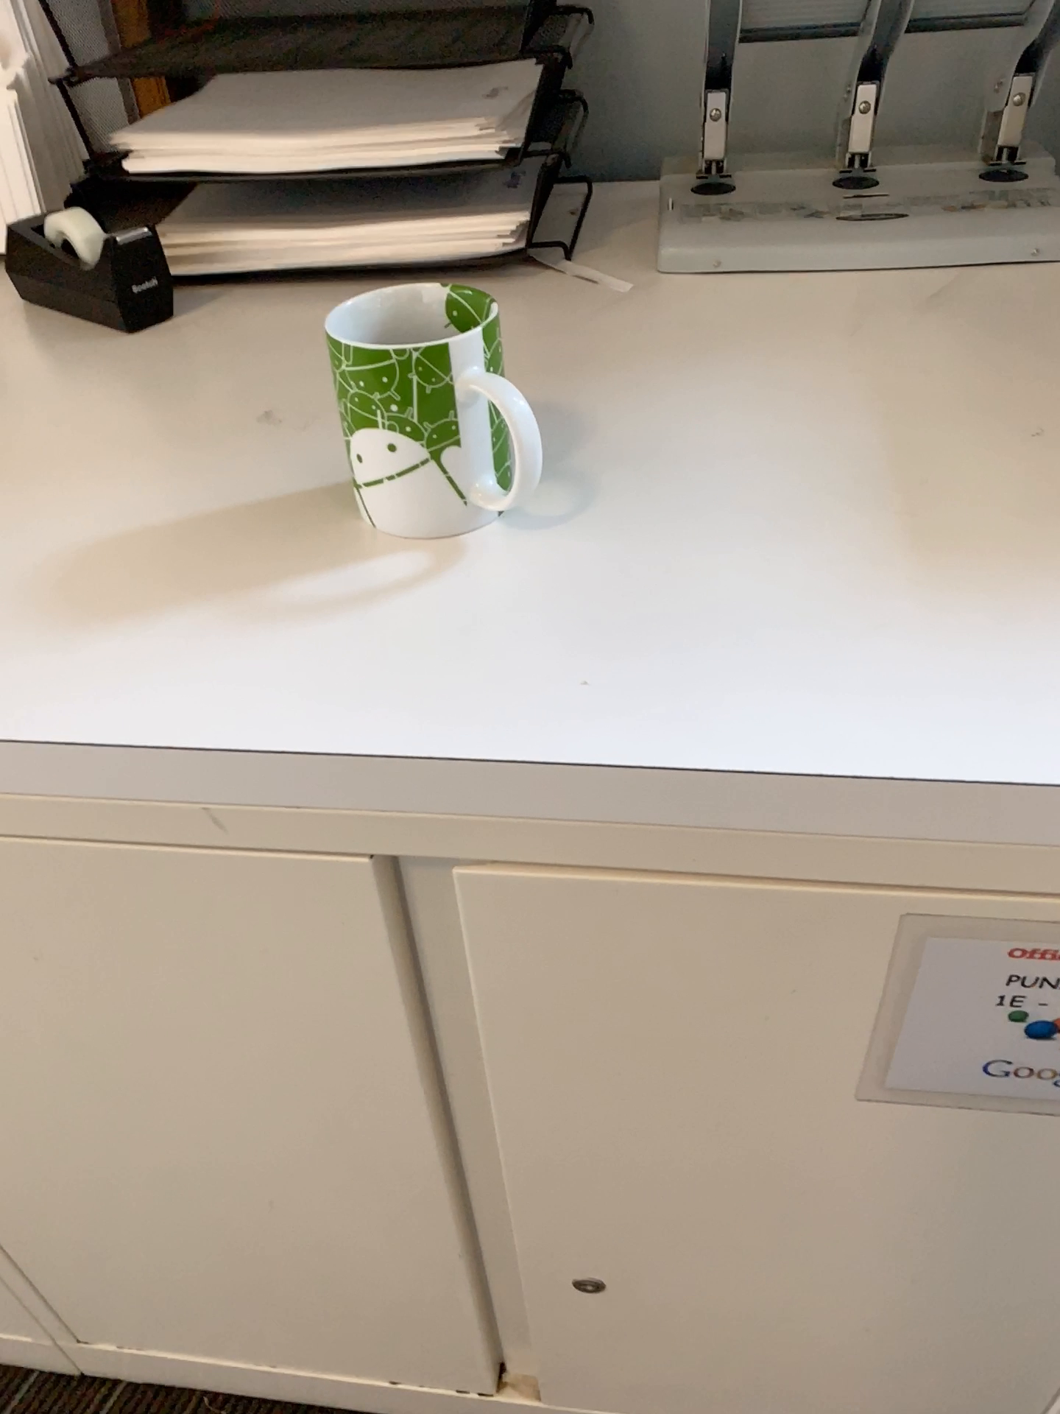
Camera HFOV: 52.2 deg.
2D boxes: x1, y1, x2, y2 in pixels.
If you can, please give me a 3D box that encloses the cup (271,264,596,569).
[{"bbox_3d":[-0.039,-0.134,0.488,0.110,0.090,0.080,21,47,28],"label":"cup"}]
